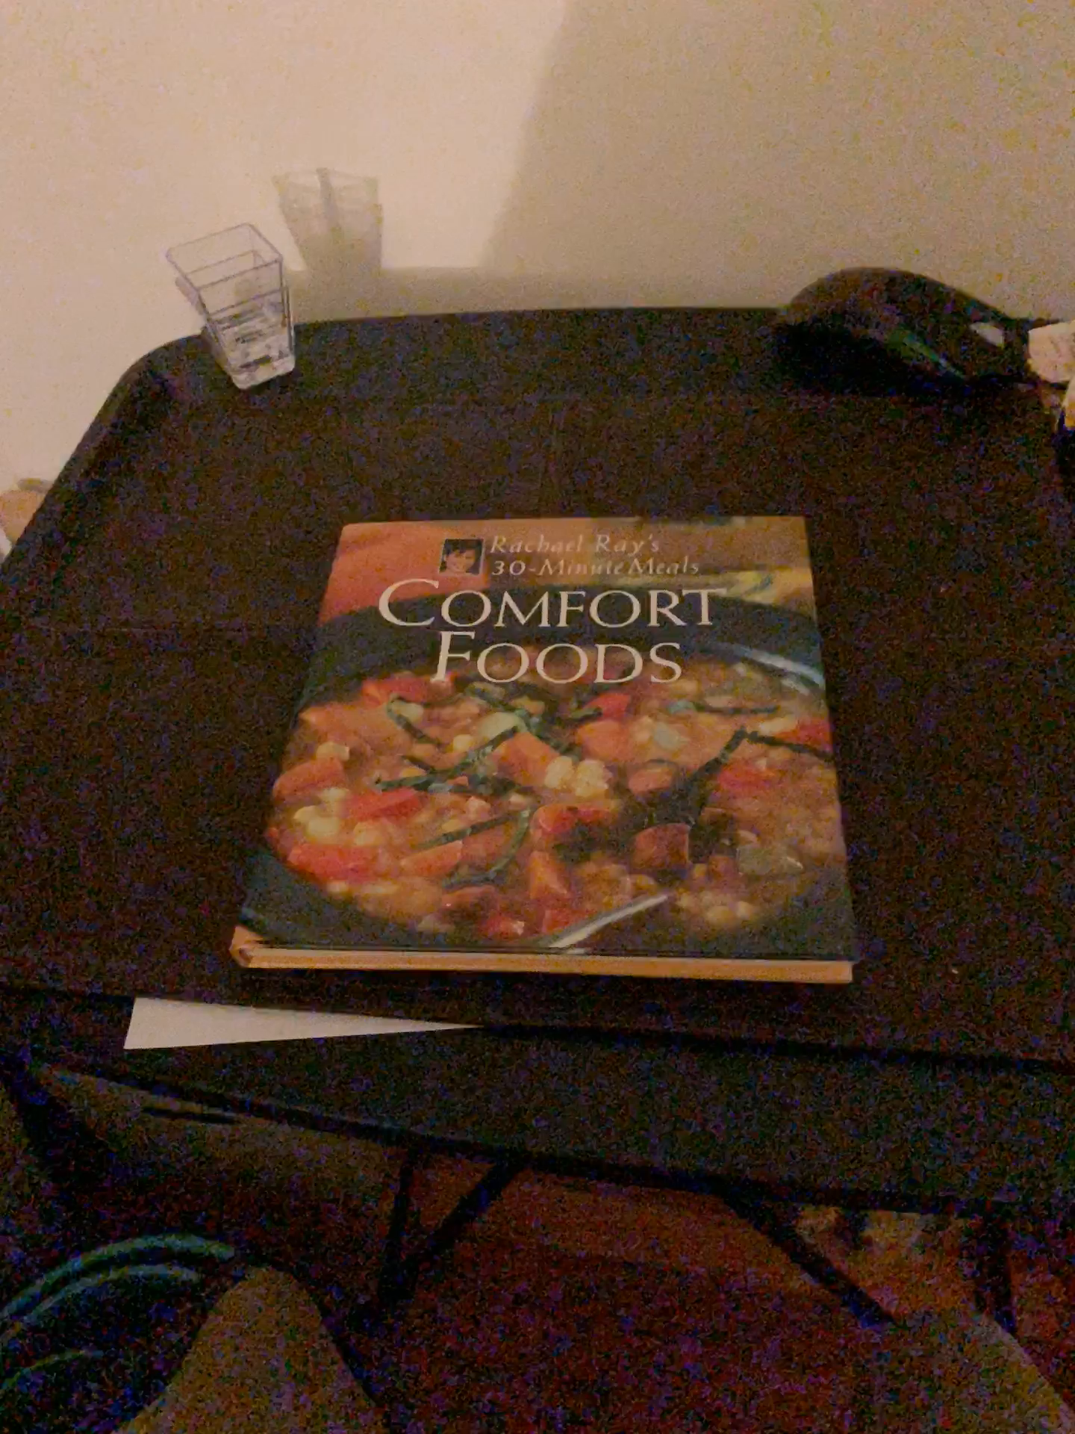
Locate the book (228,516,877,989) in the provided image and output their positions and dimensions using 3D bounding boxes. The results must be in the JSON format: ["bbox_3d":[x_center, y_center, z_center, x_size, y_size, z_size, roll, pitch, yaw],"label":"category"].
[{"bbox_3d":[0.008,0.002,0.412,0.200,0.020,0.201,0,50,6],"label":"book"}]
